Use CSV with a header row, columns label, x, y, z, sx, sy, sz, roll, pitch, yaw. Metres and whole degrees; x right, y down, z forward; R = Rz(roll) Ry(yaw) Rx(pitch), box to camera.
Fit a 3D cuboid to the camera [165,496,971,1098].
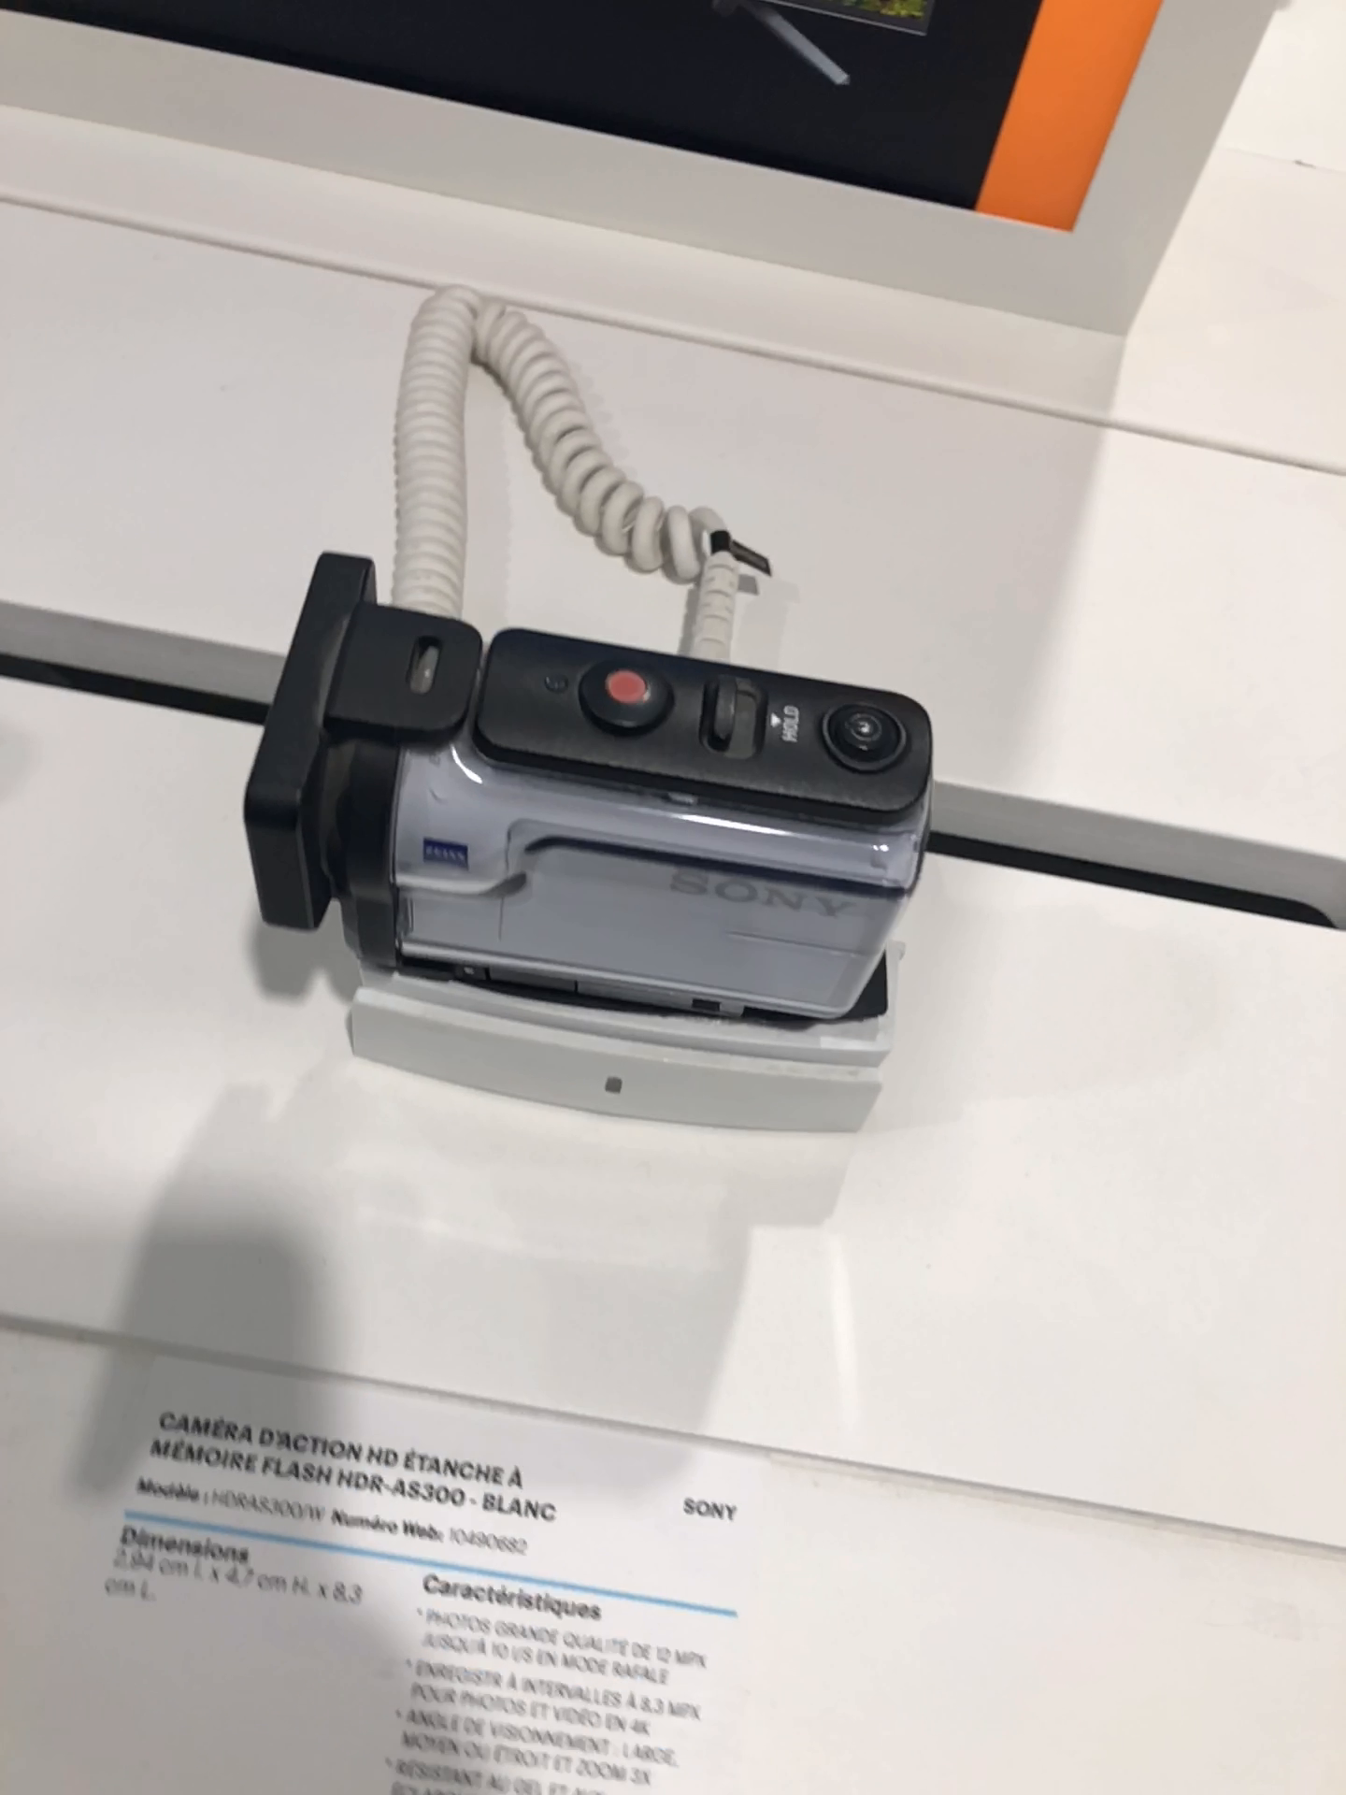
label,x,y,z,sx,sy,sz,roll,pitch,yaw
camera,-0.011,-0.012,0.202,0.092,0.044,0.049,10,55,-2
